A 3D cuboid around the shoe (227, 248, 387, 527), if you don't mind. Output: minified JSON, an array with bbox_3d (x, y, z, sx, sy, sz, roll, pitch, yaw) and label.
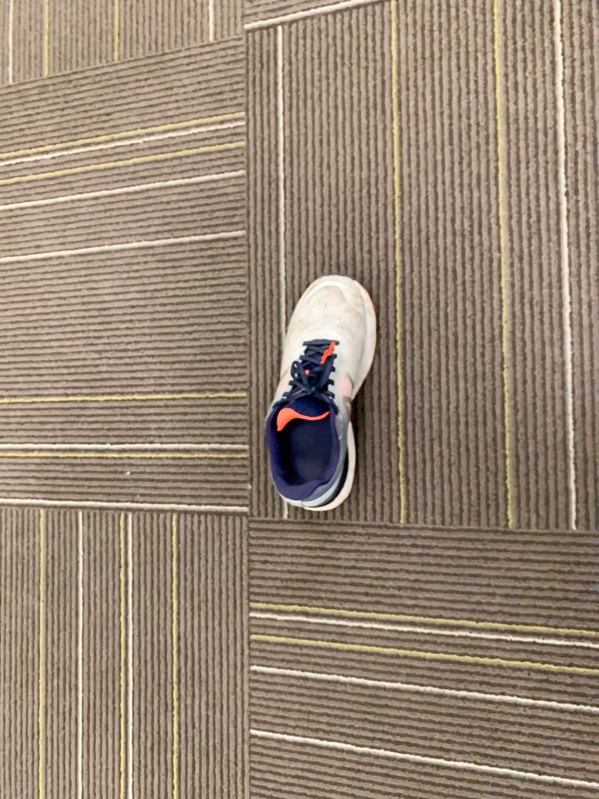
[{"bbox_3d":[0.011,-0.016,0.710,0.130,0.080,0.290,7,90,18],"label":"shoe"}]
